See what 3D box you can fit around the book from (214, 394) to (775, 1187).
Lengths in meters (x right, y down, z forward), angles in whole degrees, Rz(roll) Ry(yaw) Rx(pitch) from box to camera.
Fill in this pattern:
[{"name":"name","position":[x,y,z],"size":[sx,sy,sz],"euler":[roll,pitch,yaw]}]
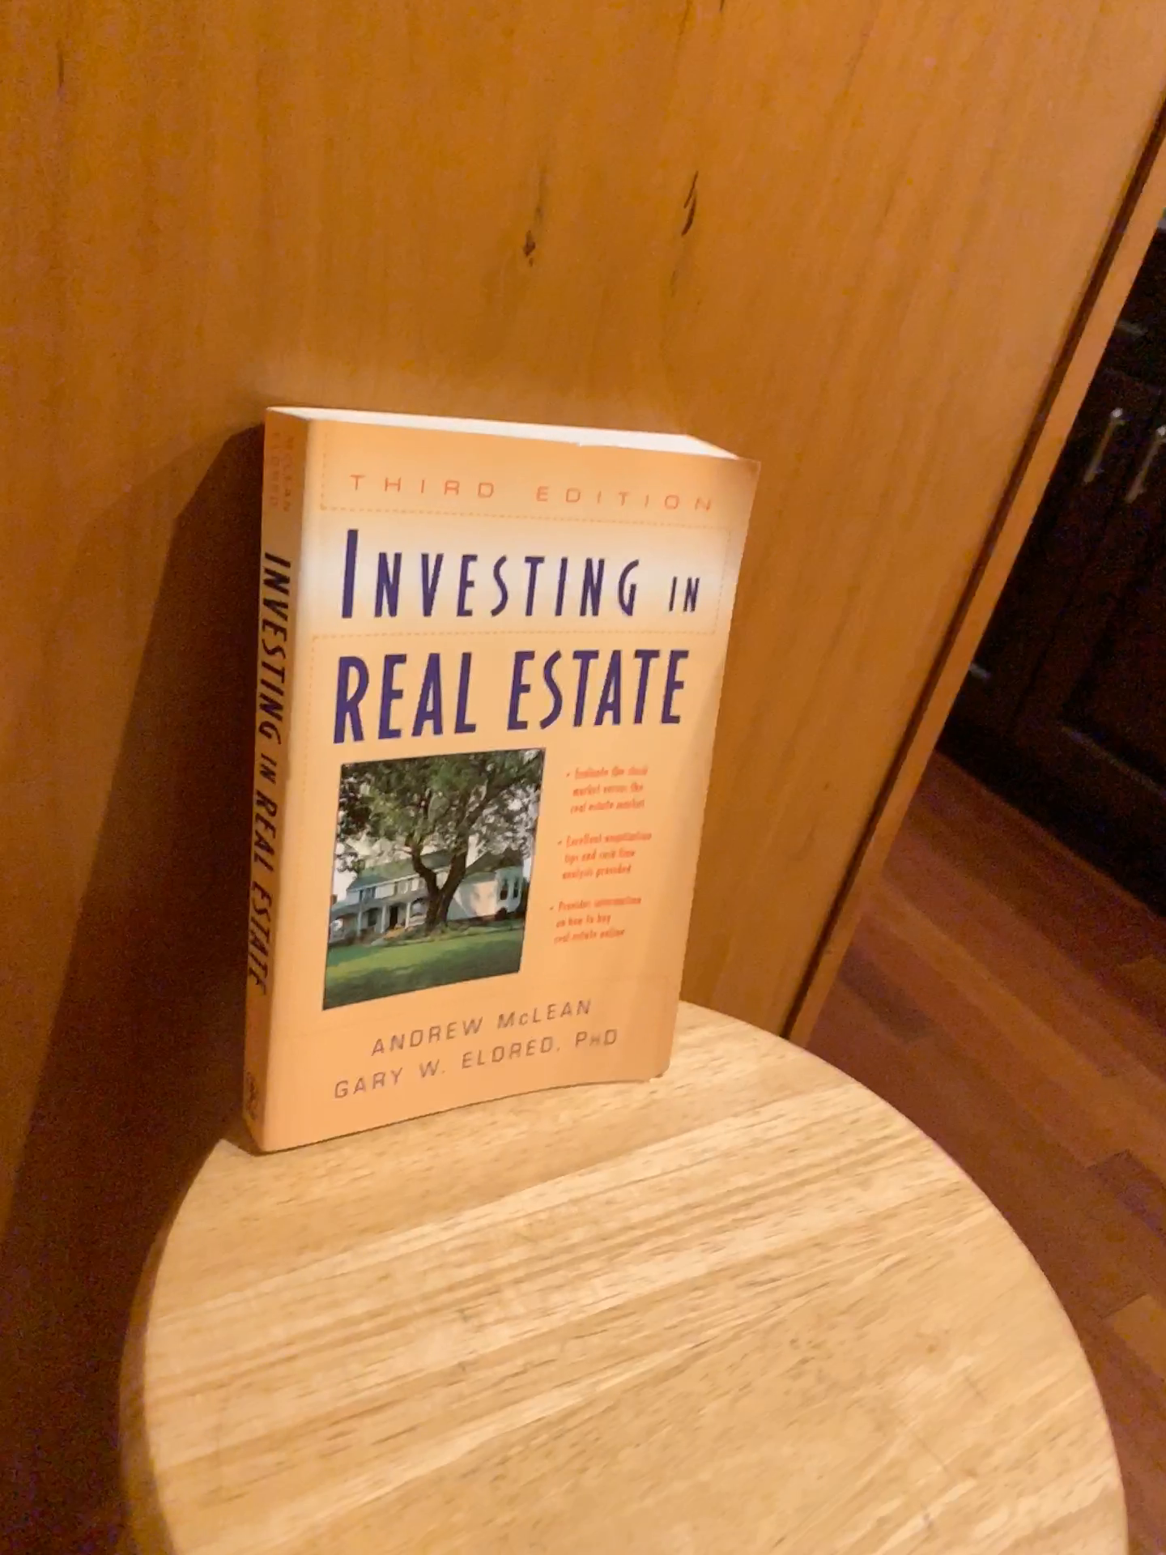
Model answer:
[{"name":"book","position":[-0.032,0.003,0.396],"size":[0.160,0.229,0.050],"euler":[-5,21,-32]}]
